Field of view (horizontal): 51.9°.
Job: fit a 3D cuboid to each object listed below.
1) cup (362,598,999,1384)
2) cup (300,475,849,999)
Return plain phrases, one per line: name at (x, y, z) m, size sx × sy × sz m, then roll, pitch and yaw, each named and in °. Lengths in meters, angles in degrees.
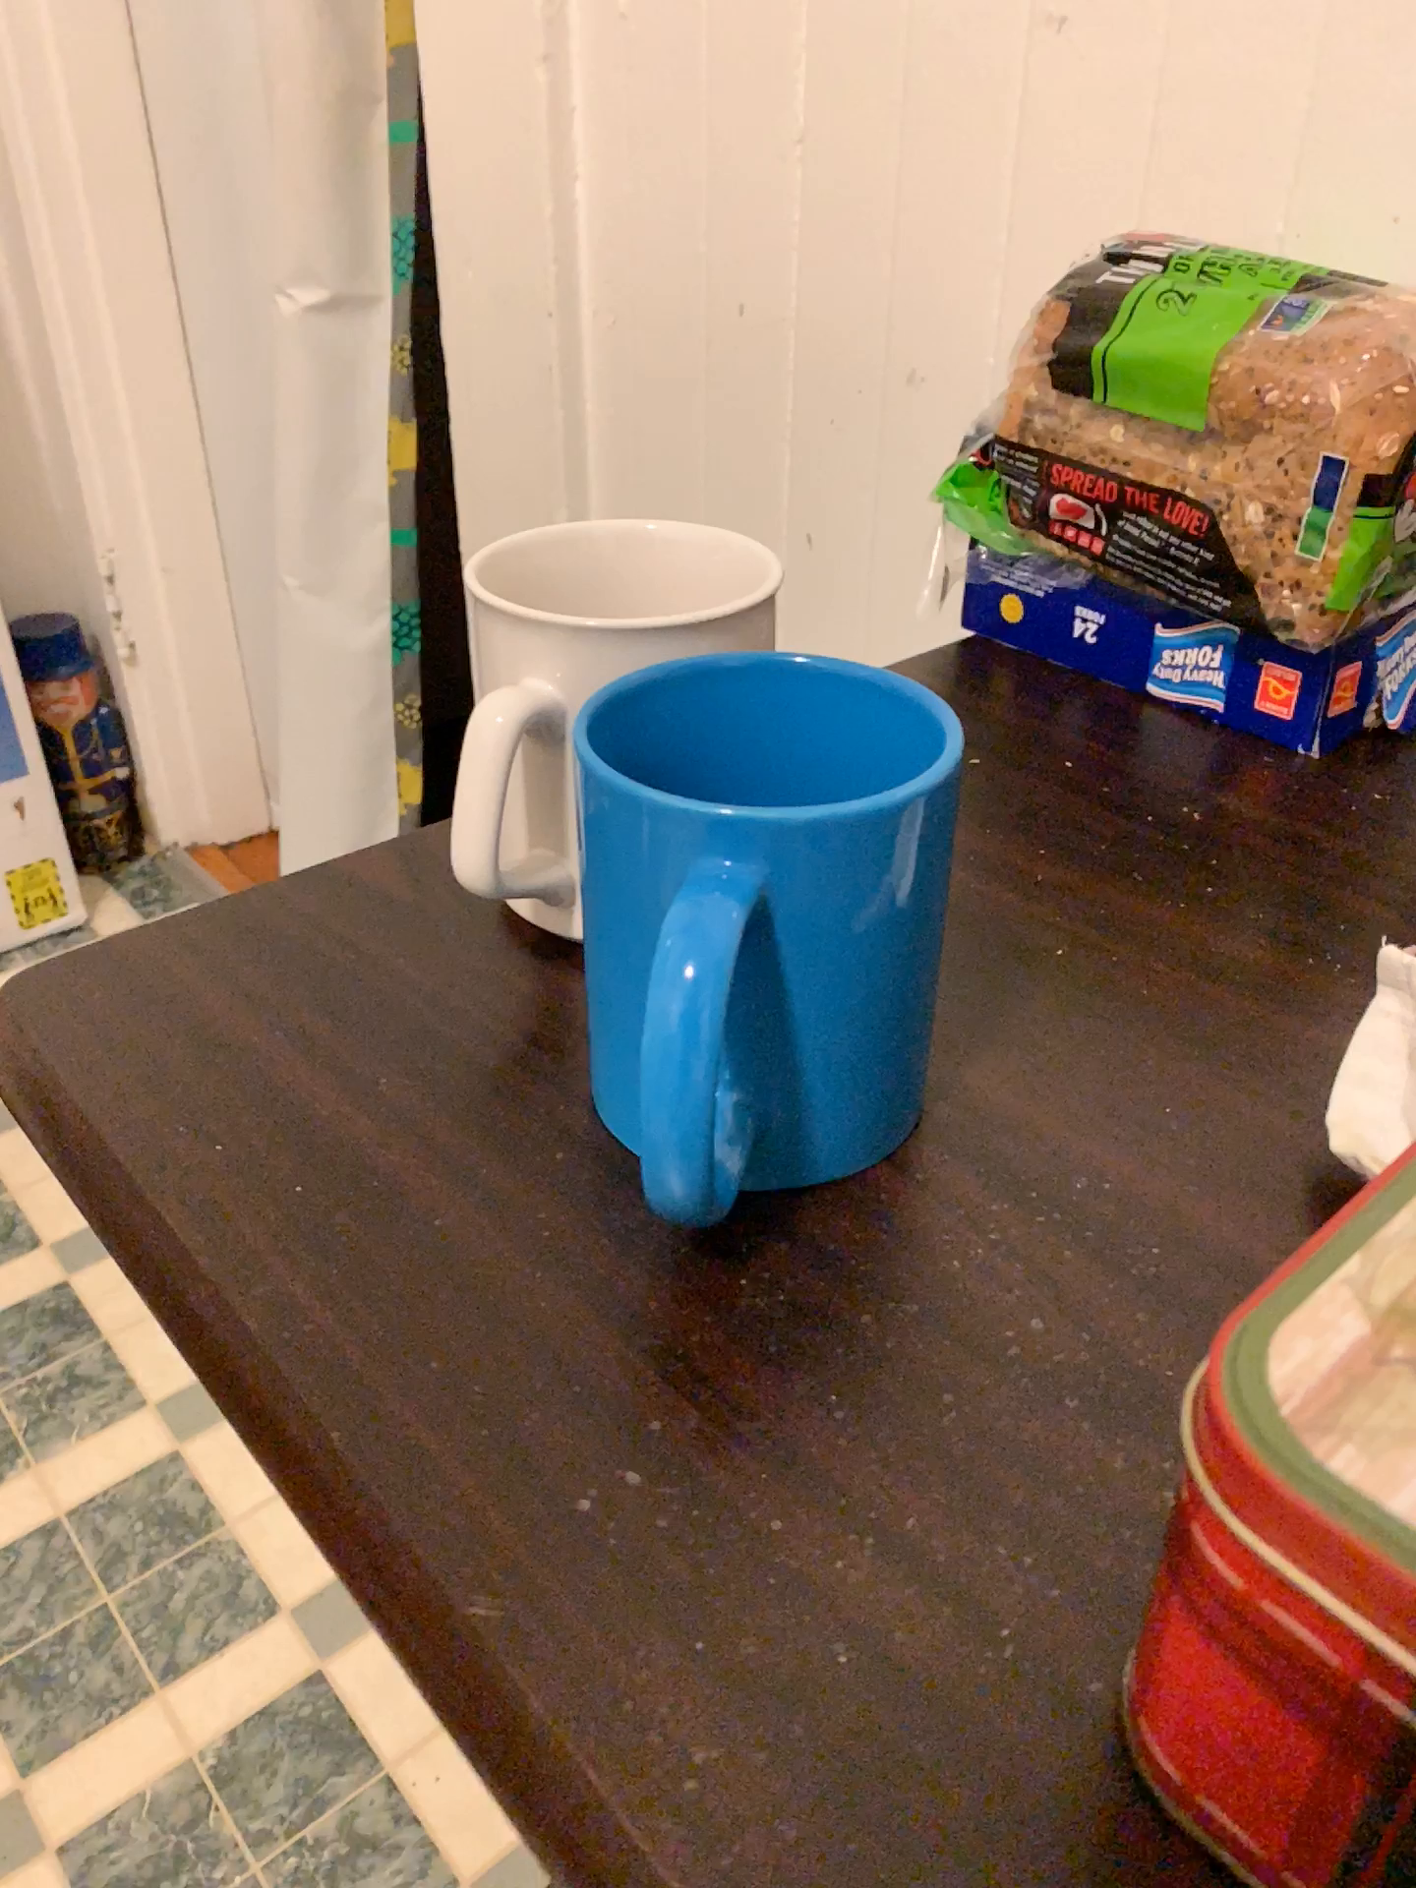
cup at (0.004, -0.001, 0.323) m, size 0.090 × 0.099 × 0.141 m, roll 10°, pitch 34°, yaw 15°
cup at (-0.031, -0.065, 0.406) m, size 0.090 × 0.089 × 0.120 m, roll 19°, pitch 37°, yaw 26°
